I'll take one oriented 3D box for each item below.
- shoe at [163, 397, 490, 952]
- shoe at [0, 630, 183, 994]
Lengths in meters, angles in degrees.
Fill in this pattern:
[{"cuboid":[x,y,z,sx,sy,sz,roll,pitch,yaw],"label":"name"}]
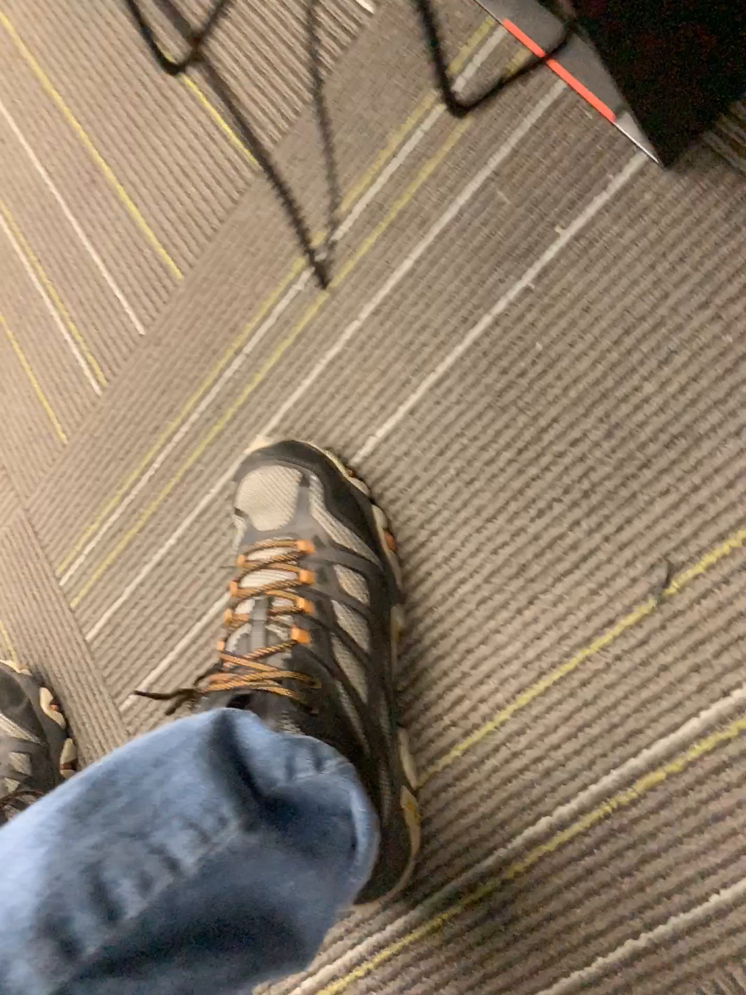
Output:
[{"cuboid":[-0.036,0.111,0.514,0.123,0.095,0.322,-19,78,31],"label":"shoe"},{"cuboid":[-0.308,0.296,0.684,0.126,0.095,0.323,-41,68,25],"label":"shoe"}]
